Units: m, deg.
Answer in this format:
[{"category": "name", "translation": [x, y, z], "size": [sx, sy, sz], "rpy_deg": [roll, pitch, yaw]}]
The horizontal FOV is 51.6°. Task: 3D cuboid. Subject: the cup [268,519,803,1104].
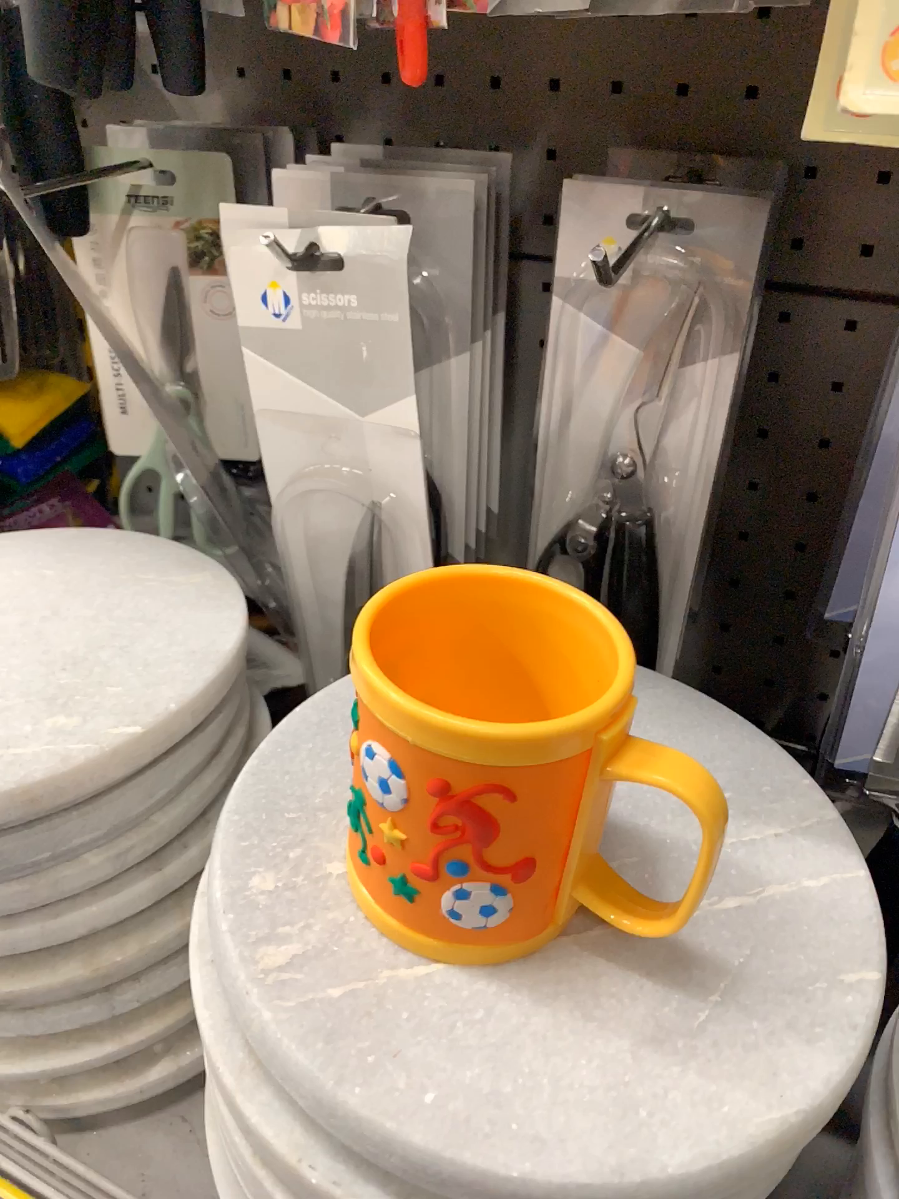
[{"category": "cup", "translation": [0.023, 0.051, 0.260], "size": [0.110, 0.100, 0.080], "rpy_deg": [18, 36, 26]}]
